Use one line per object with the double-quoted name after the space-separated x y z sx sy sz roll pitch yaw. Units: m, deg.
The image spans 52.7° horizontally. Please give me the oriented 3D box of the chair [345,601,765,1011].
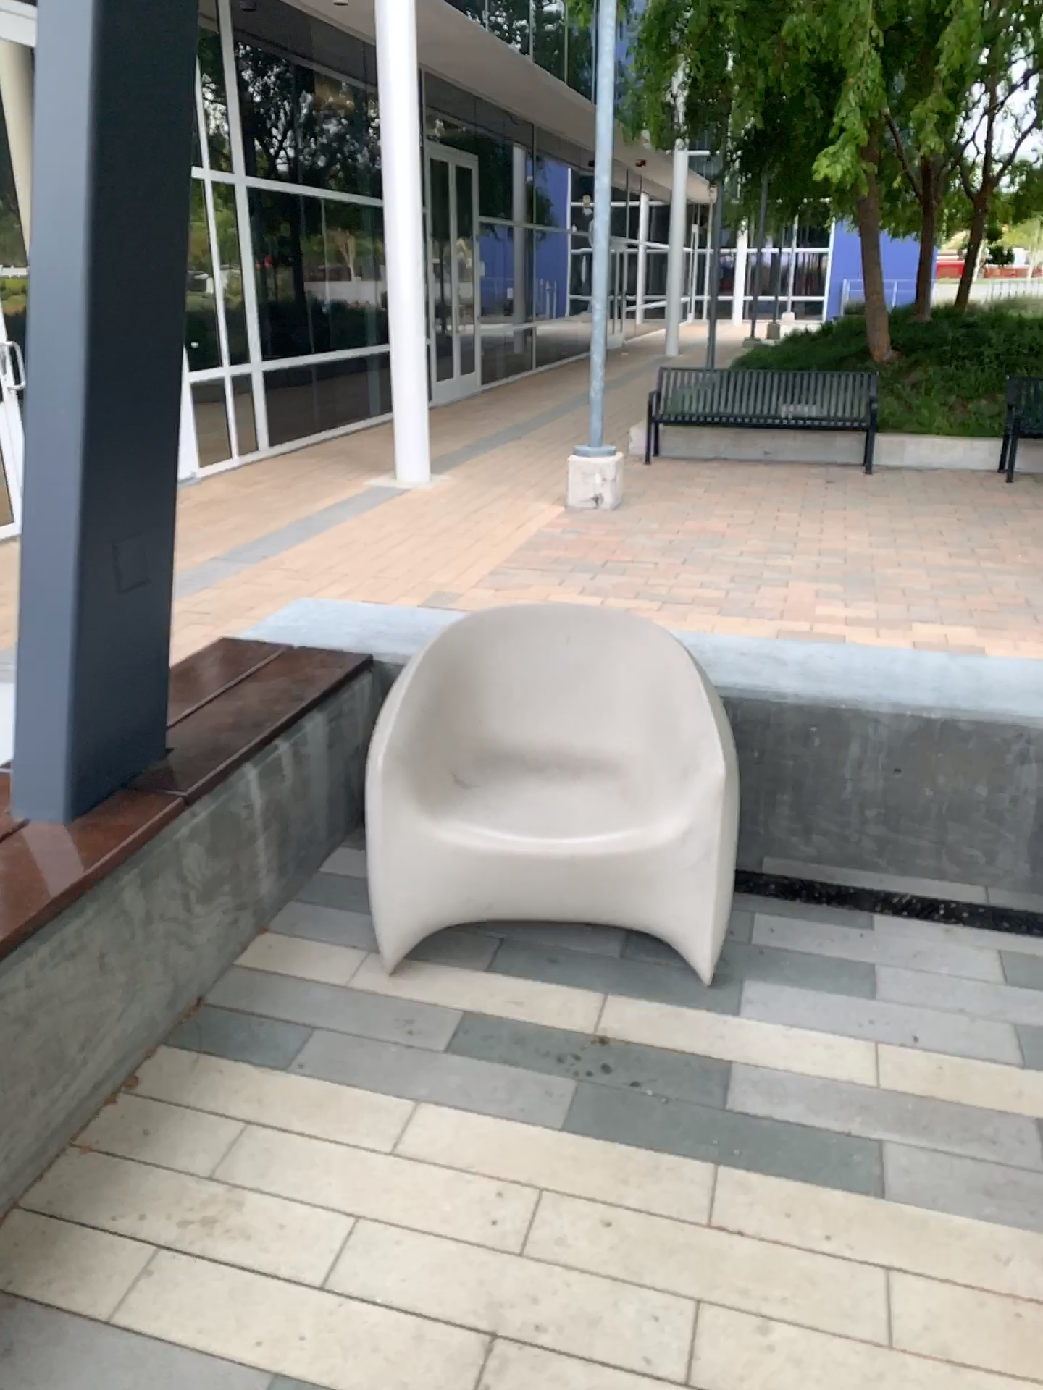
0.091 0.264 3.032 0.980 0.786 0.925 1 24 2 "chair"
